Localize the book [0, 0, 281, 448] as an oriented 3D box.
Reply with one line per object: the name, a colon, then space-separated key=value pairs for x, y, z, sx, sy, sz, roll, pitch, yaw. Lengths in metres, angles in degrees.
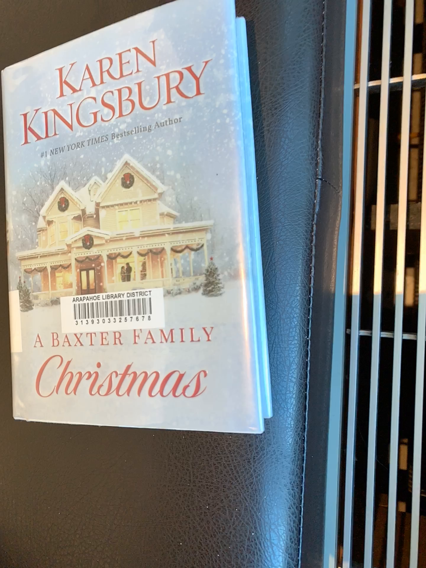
book: x=-0.044 y=-0.026 z=0.200 sx=0.135 sy=0.023 sz=0.180 roll=-5 pitch=87 yaw=24
